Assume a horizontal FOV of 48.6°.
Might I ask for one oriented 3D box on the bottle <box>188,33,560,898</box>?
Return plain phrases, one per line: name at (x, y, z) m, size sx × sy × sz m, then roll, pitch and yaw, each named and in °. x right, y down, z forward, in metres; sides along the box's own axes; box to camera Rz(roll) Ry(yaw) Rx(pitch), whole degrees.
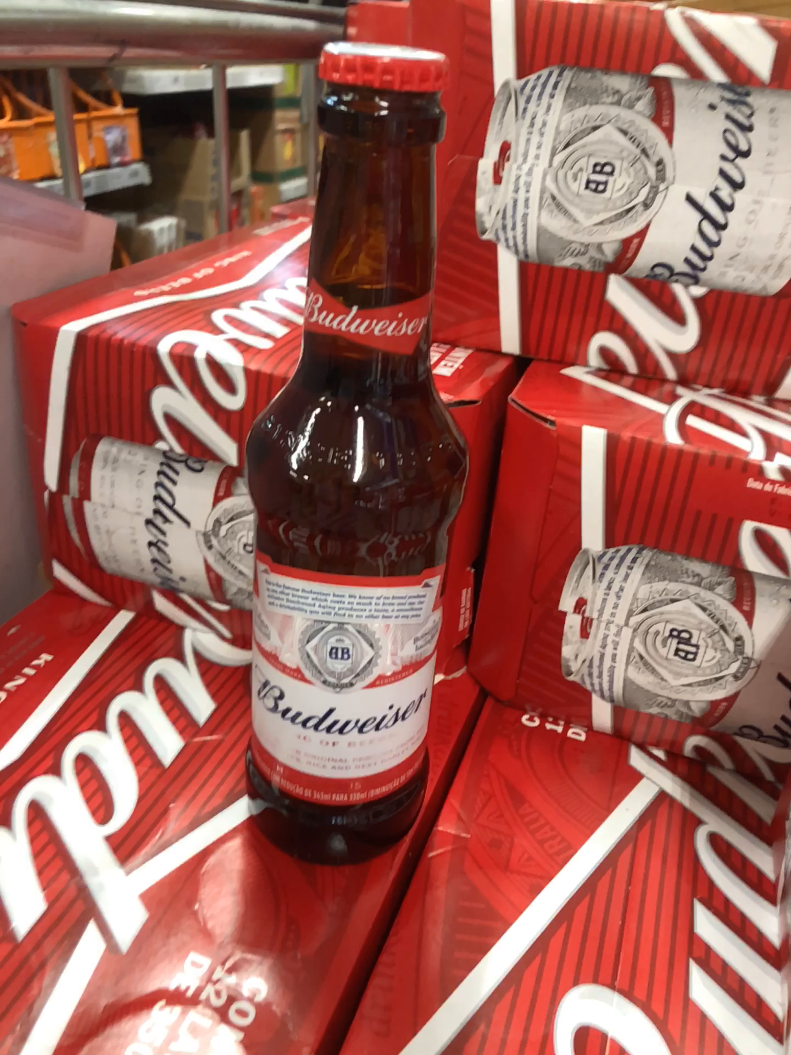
bottle at (-0.009, -0.004, 0.244) m, size 0.070 × 0.228 × 0.060 m, roll 8°, pitch 30°, yaw 6°
